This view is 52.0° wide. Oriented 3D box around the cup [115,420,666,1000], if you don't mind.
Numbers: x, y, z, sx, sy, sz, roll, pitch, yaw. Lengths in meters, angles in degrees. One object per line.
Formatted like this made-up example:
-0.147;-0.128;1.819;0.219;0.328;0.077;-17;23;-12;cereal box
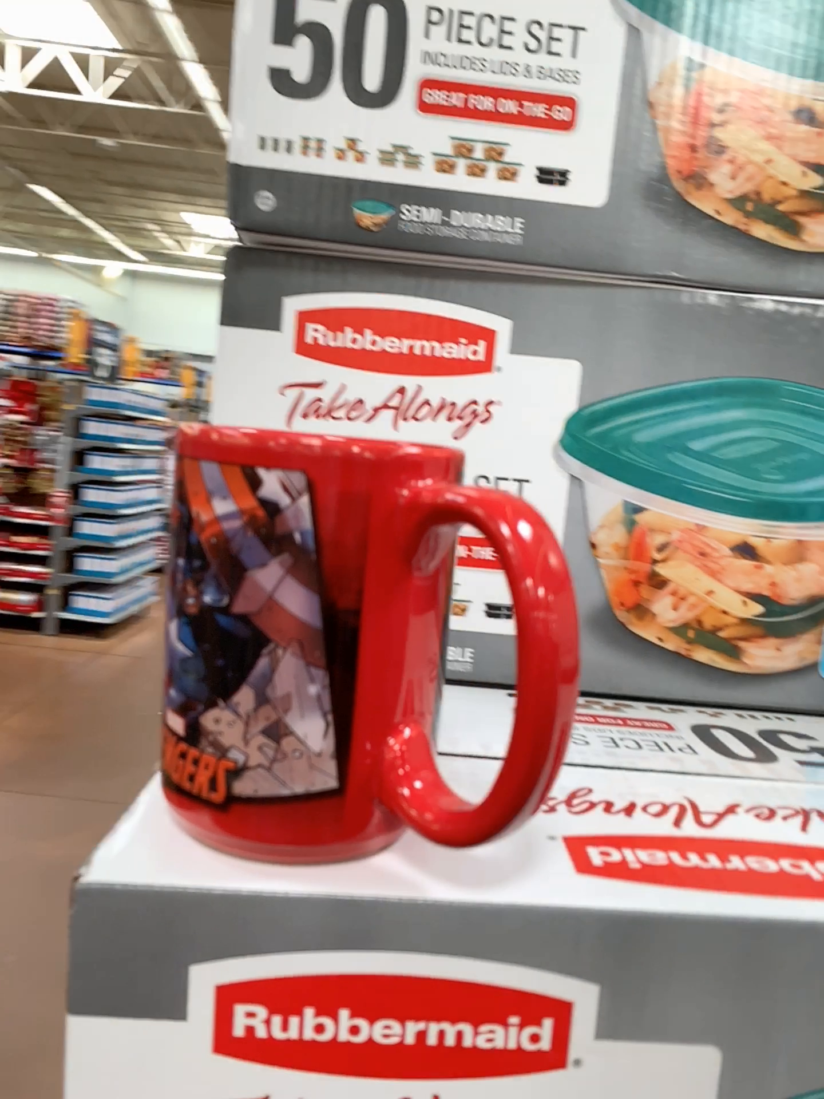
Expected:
-0.012;0.024;0.243;0.100;0.114;0.119;-5;12;-40;cup
